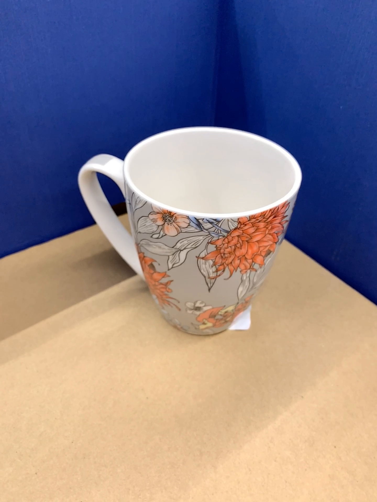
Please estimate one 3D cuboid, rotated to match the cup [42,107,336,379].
[{"bbox_3d":[0.002,-0.014,0.225,0.117,0.085,0.092,22,42,22],"label":"cup"}]
